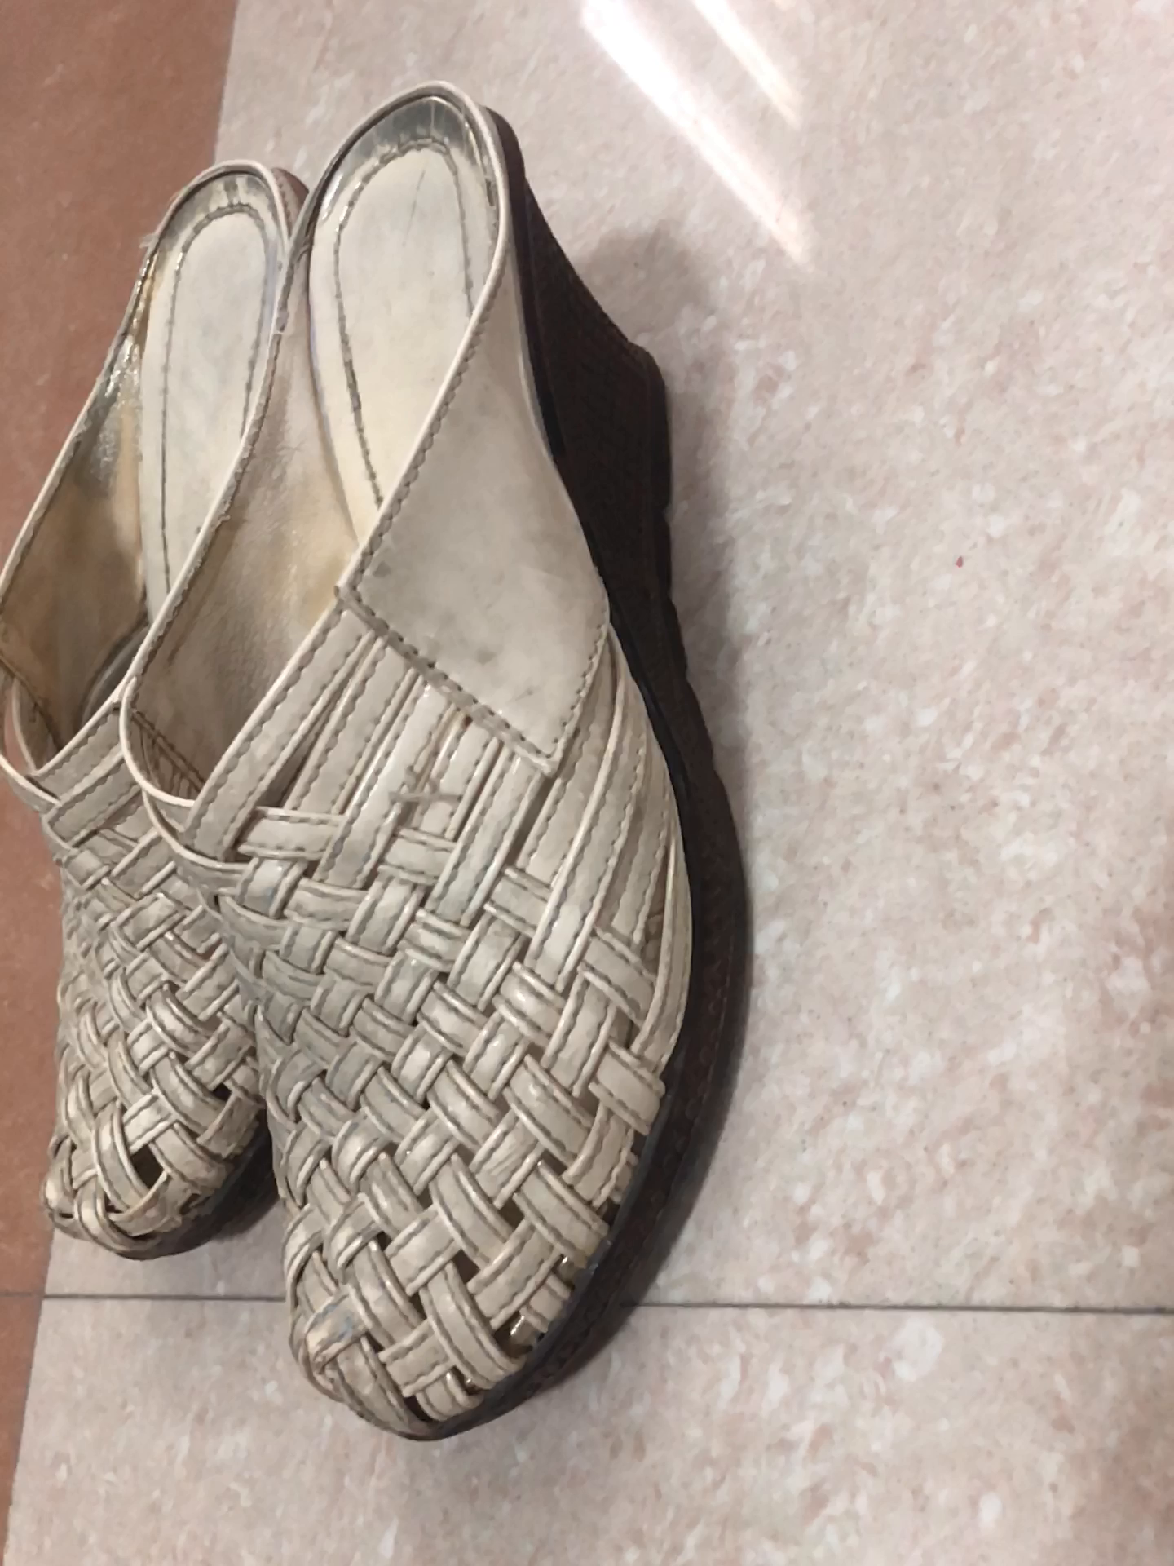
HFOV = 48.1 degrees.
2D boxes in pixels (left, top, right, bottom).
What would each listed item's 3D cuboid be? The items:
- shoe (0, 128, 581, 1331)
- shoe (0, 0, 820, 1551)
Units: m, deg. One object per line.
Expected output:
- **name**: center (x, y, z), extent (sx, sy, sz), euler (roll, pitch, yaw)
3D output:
- **shoe**: center (-0.091, -0.009, 0.297), extent (0.101, 0.084, 0.225), euler (4, 75, 43)
- **shoe**: center (-0.028, -0.005, 0.234), extent (0.101, 0.084, 0.221), euler (-10, 67, 39)
